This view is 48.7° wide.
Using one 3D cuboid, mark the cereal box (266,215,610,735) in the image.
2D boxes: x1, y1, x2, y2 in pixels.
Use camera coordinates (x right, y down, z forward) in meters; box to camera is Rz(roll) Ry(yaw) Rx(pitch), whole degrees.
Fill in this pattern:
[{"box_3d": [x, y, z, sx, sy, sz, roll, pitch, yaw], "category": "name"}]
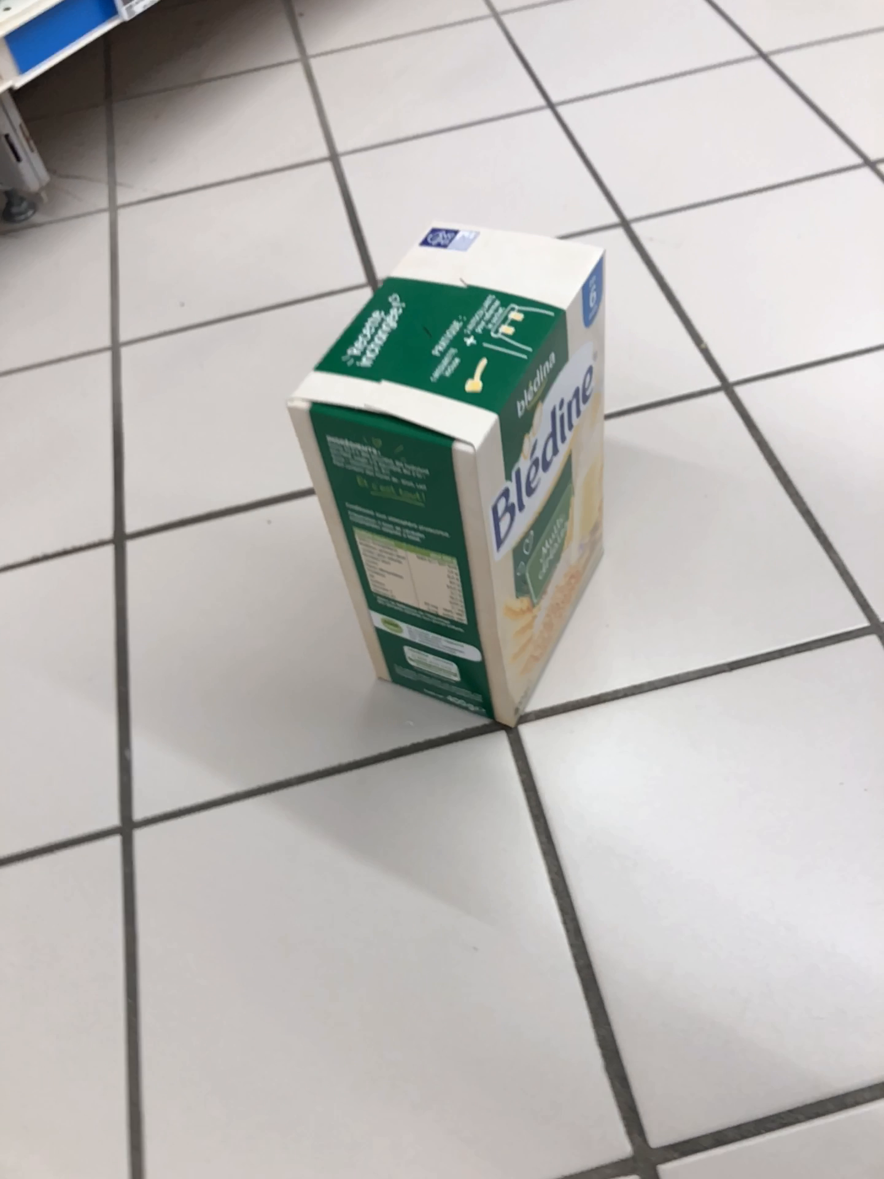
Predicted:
[{"box_3d": [0.013, -0.048, 0.471, 0.090, 0.199, 0.131, 18, 57, 21], "category": "cereal box"}]
